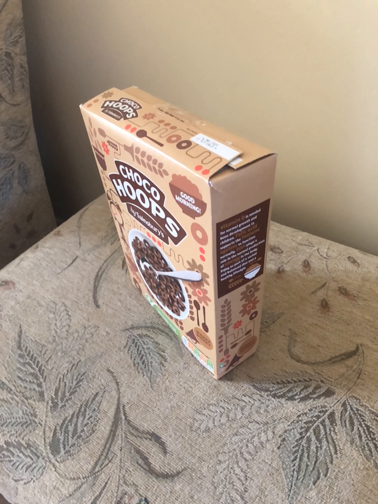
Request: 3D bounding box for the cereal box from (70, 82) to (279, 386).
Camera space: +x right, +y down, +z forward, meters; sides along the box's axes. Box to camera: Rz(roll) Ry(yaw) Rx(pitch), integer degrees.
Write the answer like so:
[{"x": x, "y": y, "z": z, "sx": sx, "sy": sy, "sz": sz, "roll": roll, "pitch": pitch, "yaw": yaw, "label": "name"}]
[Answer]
[{"x": -0.017, "y": -0.018, "z": 0.461, "sx": 0.080, "sy": 0.258, "sz": 0.211, "roll": -29, "pitch": 48, "yaw": -24, "label": "cereal box"}]
